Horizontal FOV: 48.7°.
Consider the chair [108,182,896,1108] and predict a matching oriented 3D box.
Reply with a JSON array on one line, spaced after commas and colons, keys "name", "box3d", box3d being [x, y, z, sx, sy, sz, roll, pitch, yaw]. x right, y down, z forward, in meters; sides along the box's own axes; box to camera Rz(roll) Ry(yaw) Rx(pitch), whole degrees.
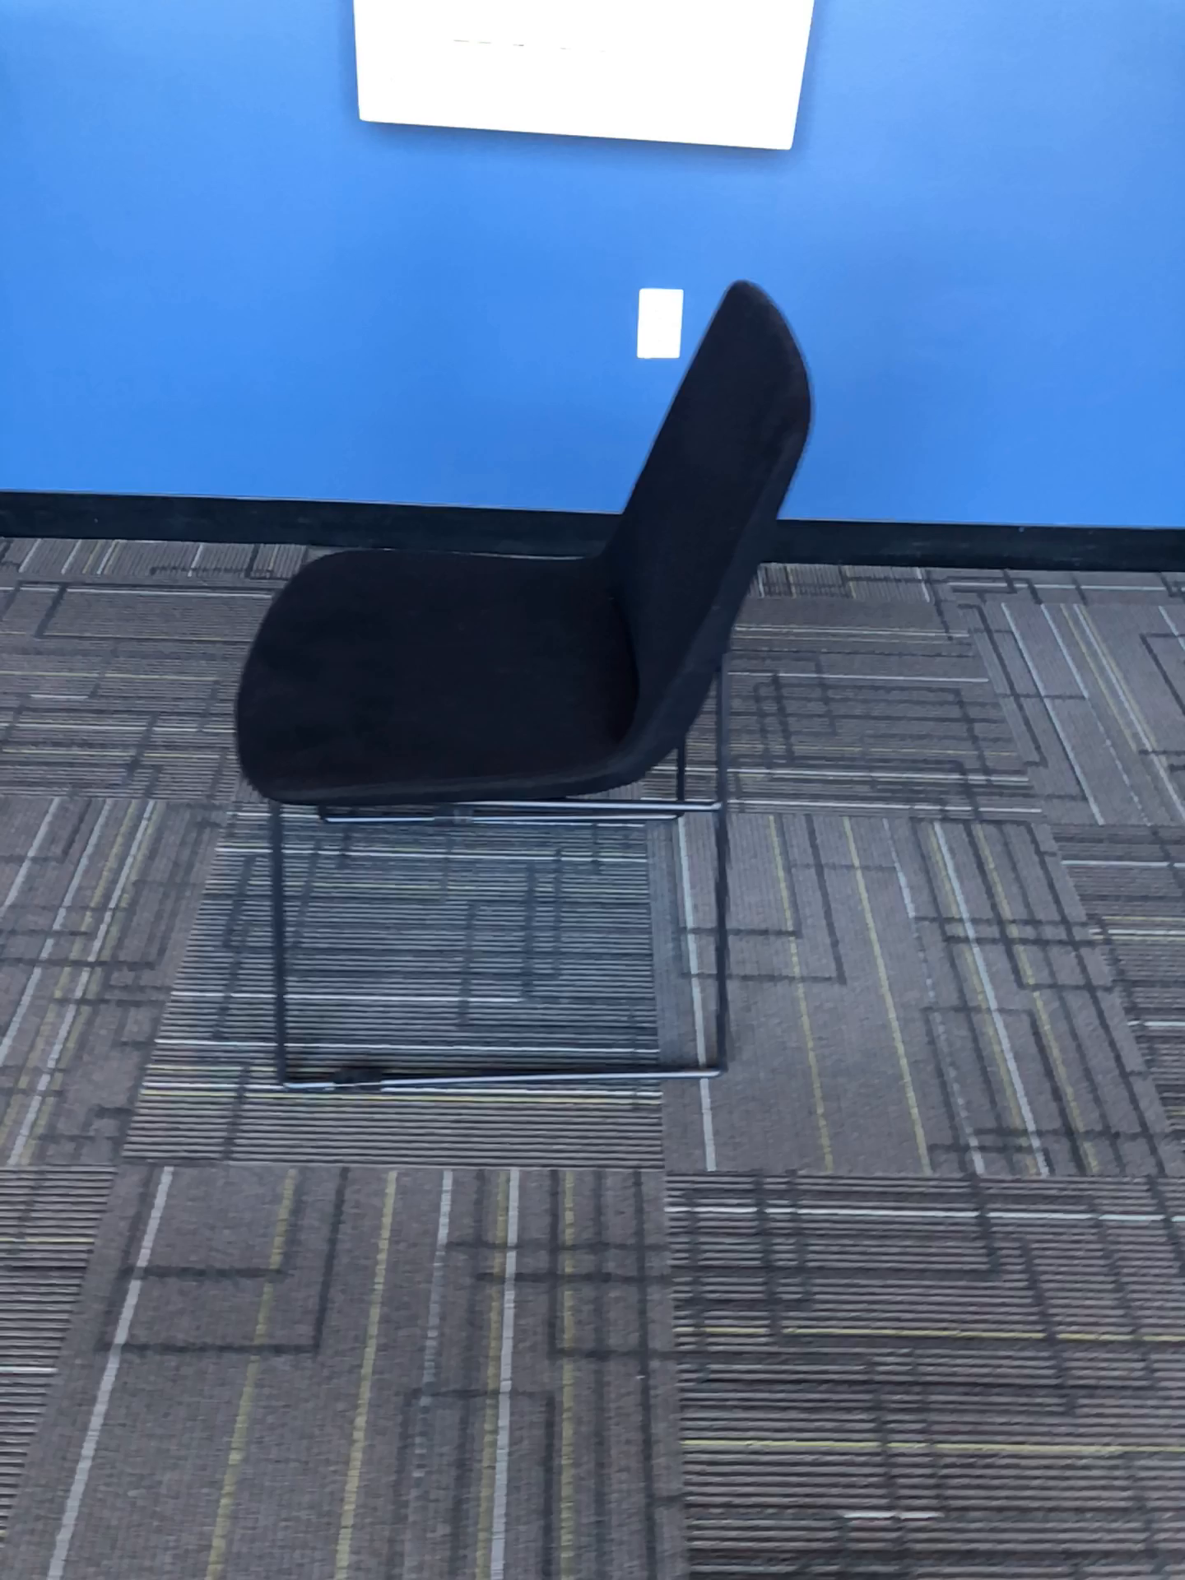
[{"name": "chair", "box3d": [-0.095, -0.142, 1.376, 0.550, 0.766, 0.563, -1, 41, -5]}]
